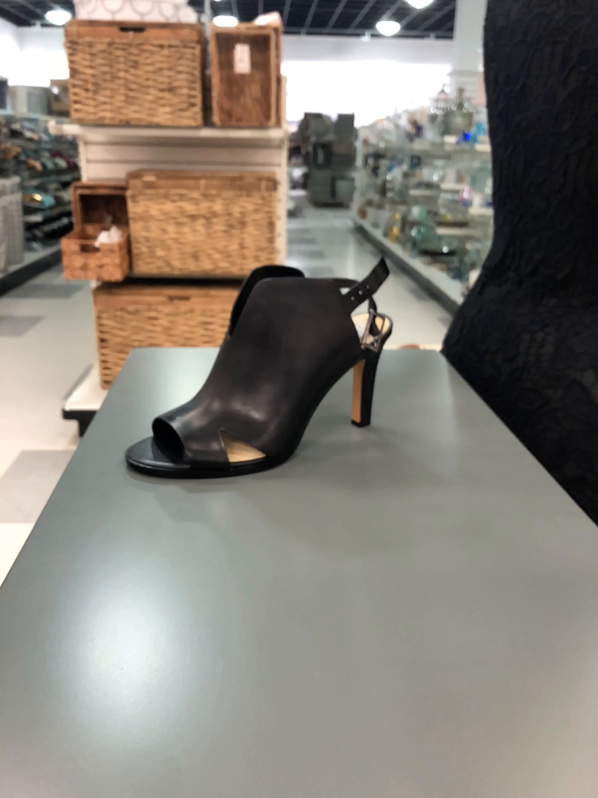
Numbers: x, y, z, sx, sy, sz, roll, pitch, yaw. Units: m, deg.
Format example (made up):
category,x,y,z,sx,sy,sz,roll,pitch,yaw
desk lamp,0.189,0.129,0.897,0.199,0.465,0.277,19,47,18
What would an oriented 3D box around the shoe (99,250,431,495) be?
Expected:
category,x,y,z,sx,sy,sz,roll,pitch,yaw
shoe,-0.026,-0.033,0.533,0.236,0.150,0.095,-8,21,-23
